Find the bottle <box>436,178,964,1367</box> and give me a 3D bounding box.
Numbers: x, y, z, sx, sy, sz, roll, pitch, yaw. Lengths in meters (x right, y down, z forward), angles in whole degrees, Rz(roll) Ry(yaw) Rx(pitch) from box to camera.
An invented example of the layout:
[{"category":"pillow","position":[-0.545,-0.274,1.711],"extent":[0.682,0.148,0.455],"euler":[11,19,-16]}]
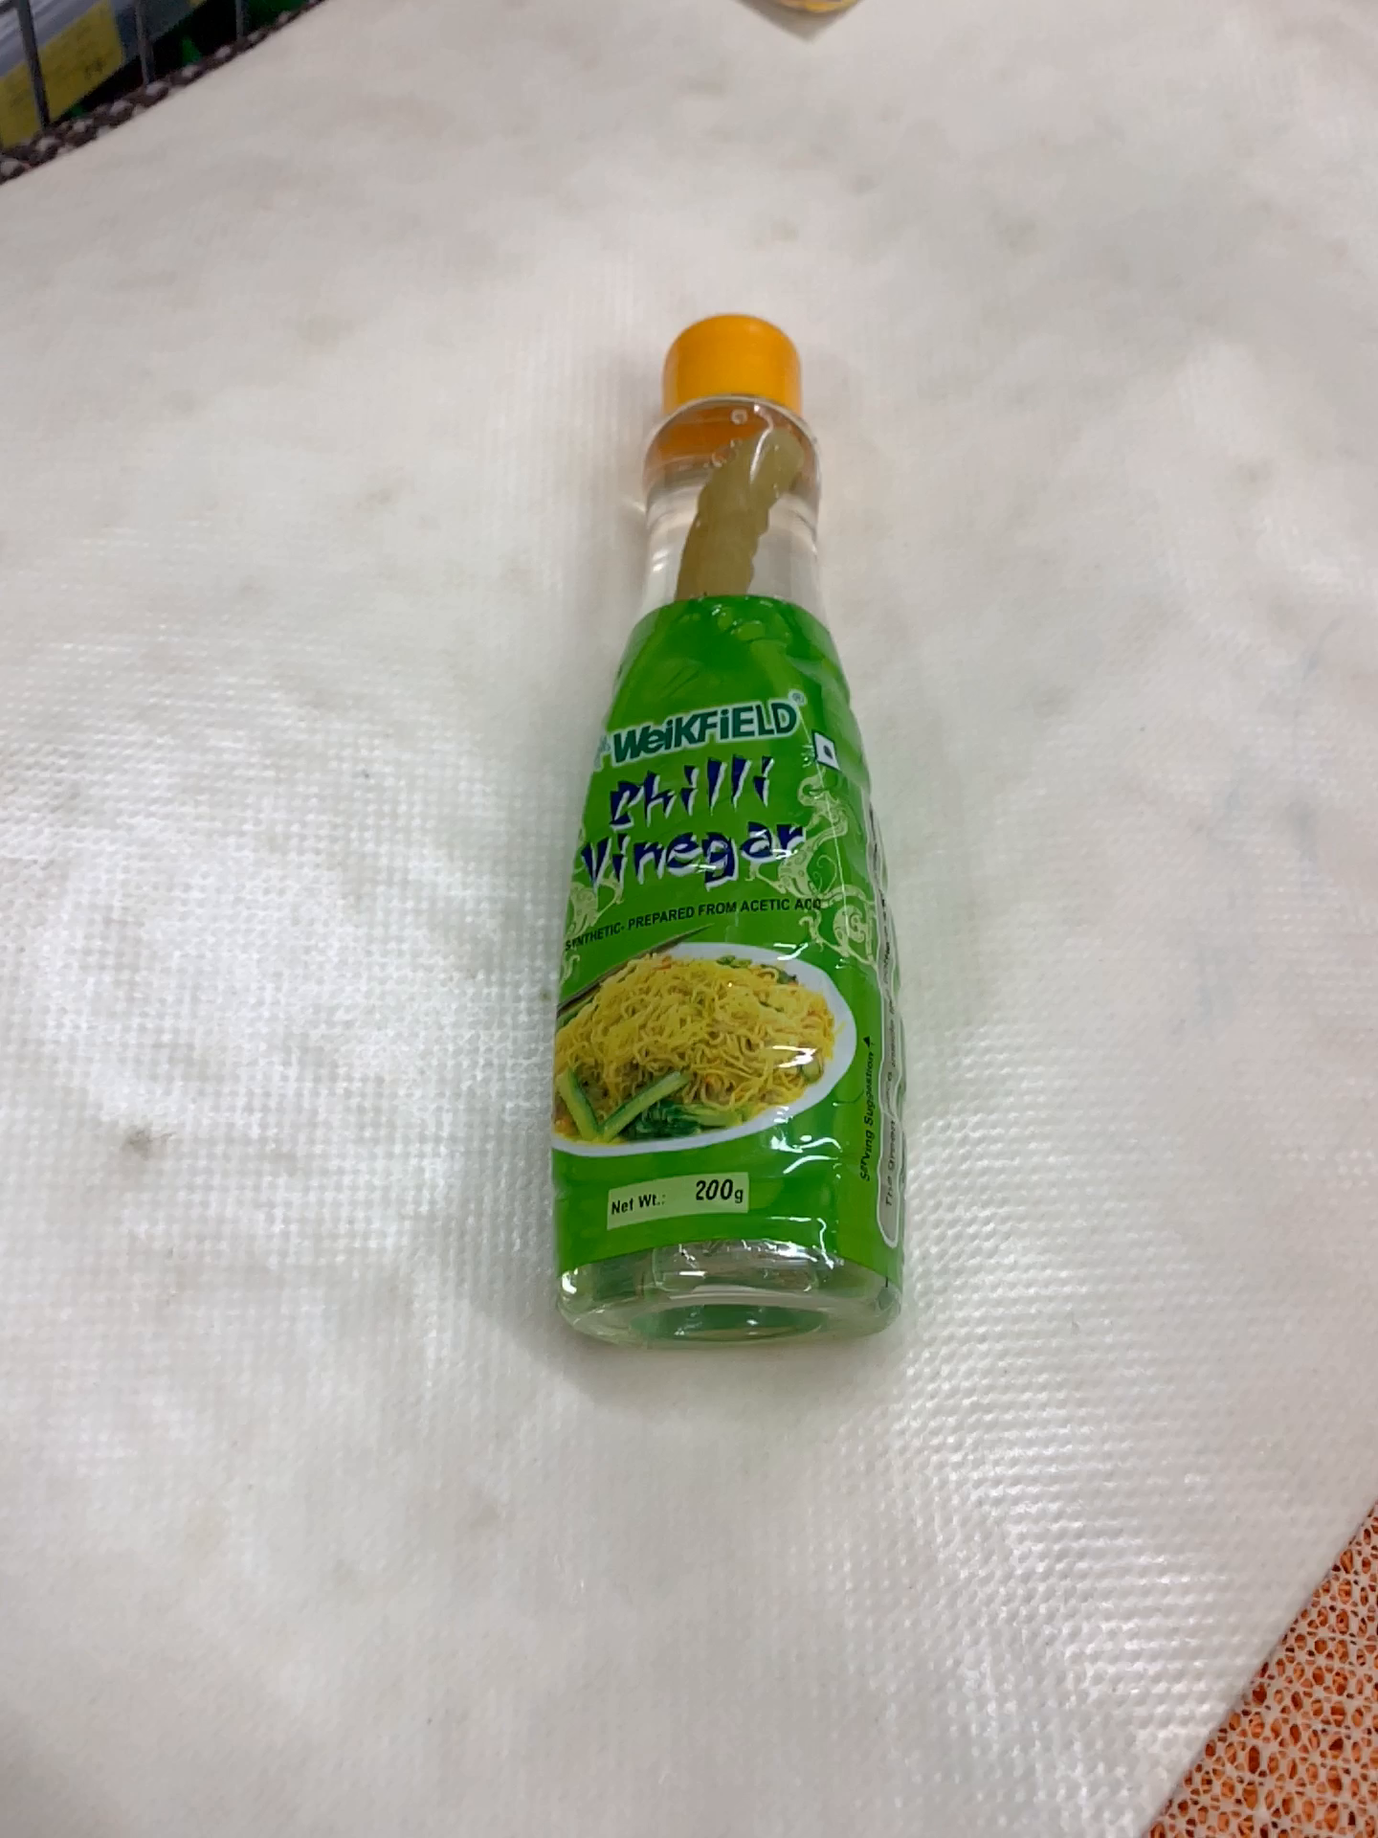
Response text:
[{"category":"bottle","position":[0.006,-0.026,0.223],"extent":[0.060,0.040,0.180],"euler":[-6,66,17]}]
